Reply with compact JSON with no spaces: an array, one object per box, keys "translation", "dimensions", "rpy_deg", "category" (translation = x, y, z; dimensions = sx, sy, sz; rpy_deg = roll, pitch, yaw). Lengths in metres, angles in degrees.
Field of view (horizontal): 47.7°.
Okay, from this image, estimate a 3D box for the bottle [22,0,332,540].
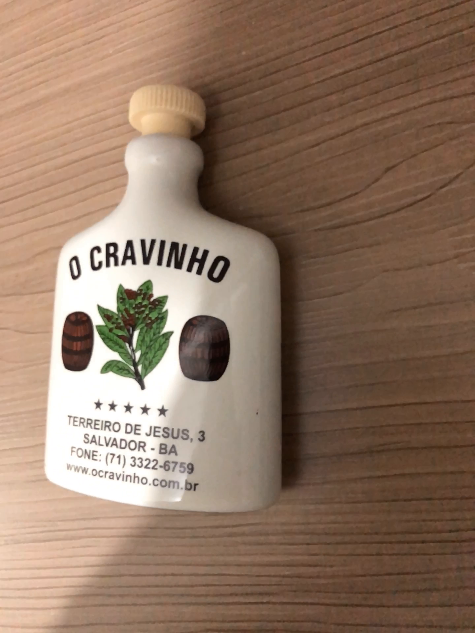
[{"translation":[-0.021,-0.015,0.194],"dimensions":[0.100,0.040,0.160],"rpy_deg":[1,89,21],"category":"bottle"}]
